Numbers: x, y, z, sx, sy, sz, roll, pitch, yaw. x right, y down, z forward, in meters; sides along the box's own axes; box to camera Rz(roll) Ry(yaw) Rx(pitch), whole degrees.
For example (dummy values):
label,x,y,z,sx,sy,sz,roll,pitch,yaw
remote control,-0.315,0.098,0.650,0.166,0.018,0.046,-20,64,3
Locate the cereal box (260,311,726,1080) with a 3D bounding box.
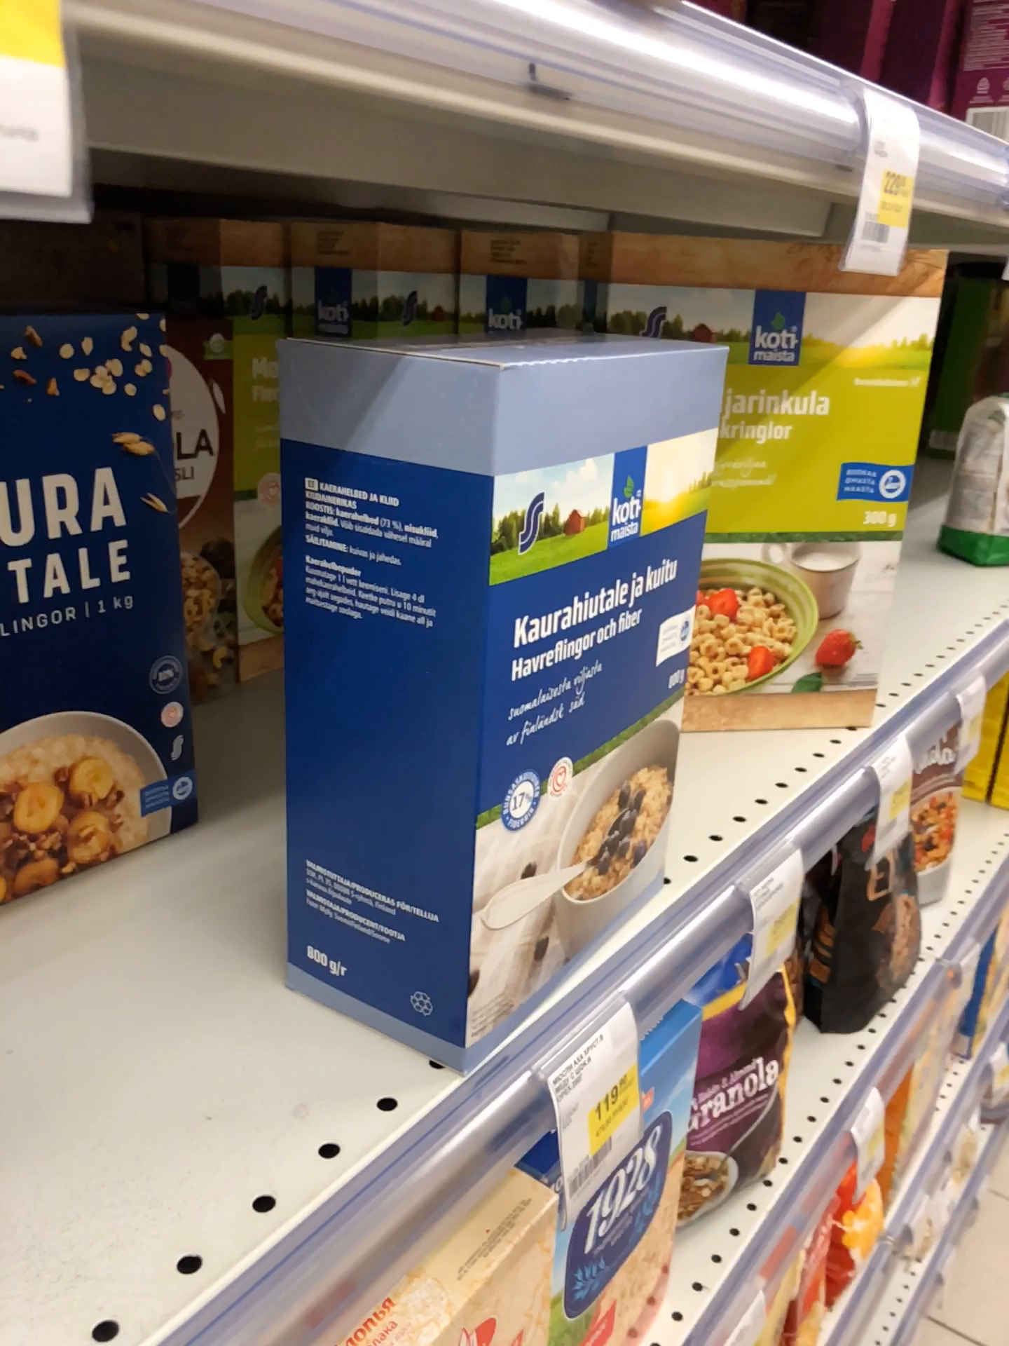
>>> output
label,x,y,z,sx,sy,sz,roll,pitch,yaw
cereal box,-0.001,-0.007,0.386,0.080,0.219,0.151,14,21,28
